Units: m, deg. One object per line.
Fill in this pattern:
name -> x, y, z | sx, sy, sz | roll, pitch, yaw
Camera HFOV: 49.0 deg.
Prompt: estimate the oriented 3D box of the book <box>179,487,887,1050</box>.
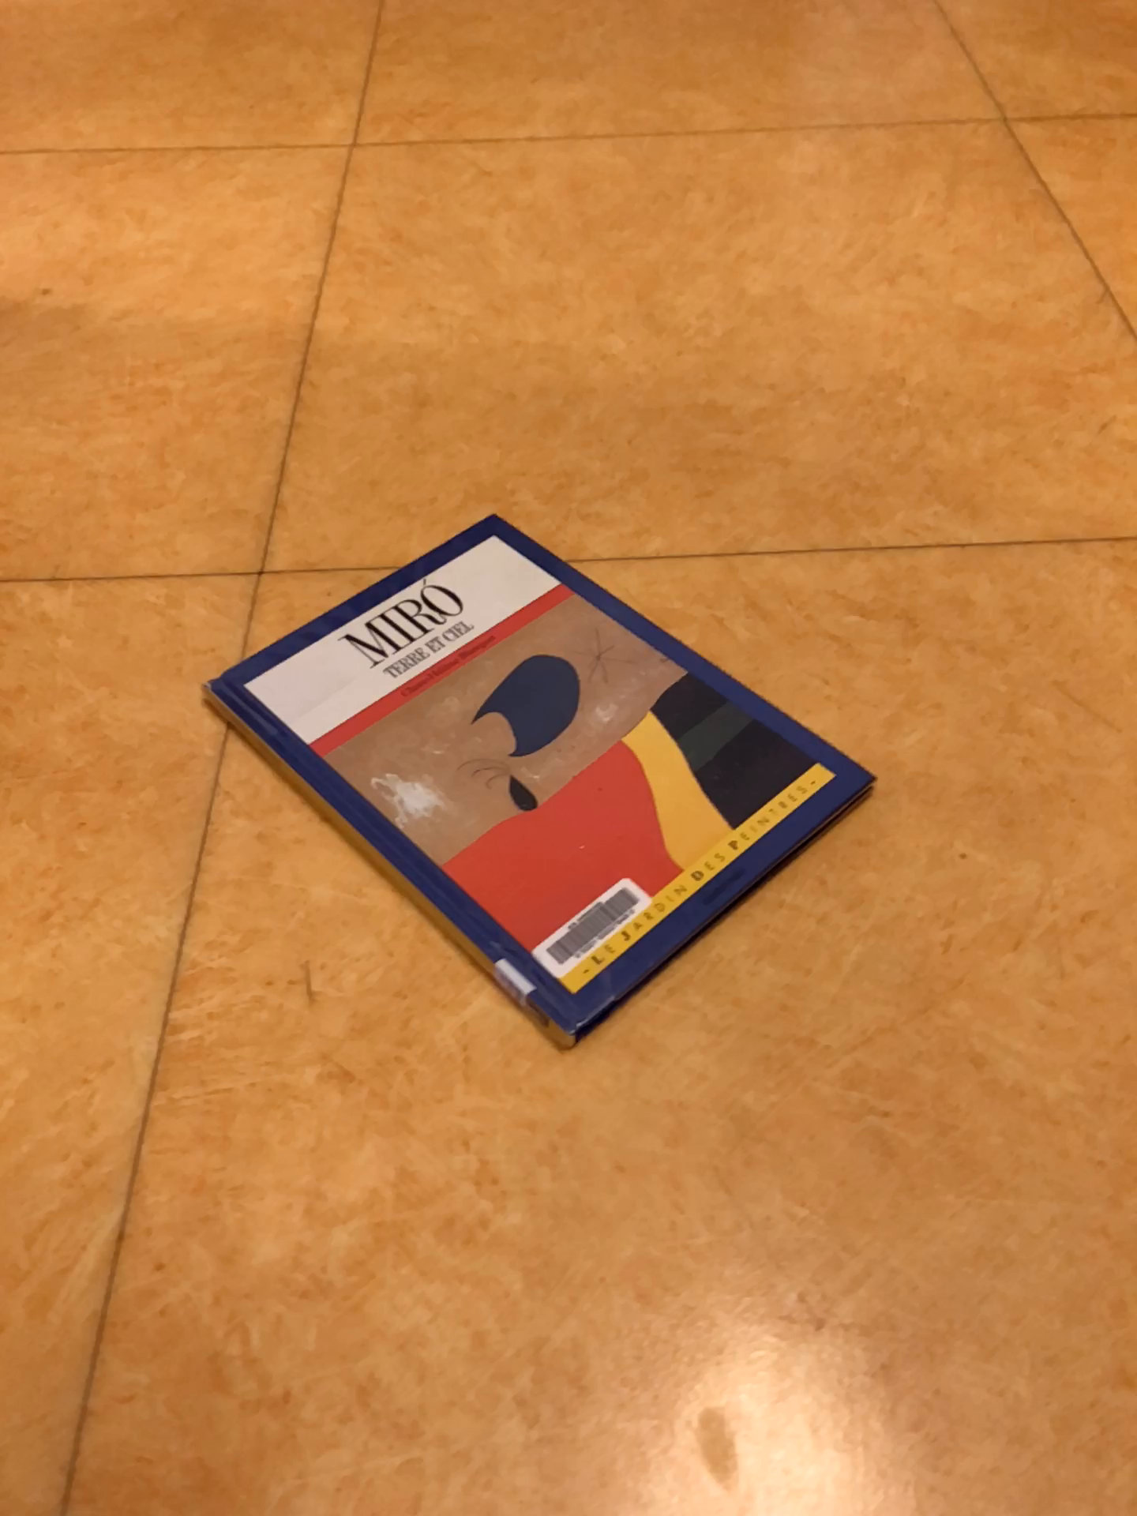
book -> -0.021, -0.017, 0.527 | 0.178, 0.020, 0.245 | -35, 55, -26
